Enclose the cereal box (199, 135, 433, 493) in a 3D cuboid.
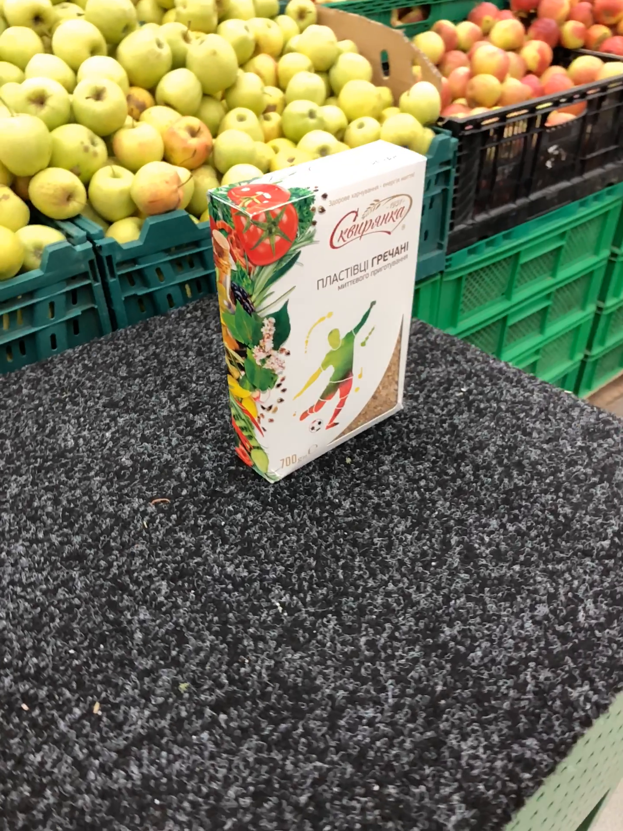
[{"bbox_3d":[0.008,-0.077,0.547,0.160,0.238,0.060,-28,46,-30],"label":"cereal box"}]
